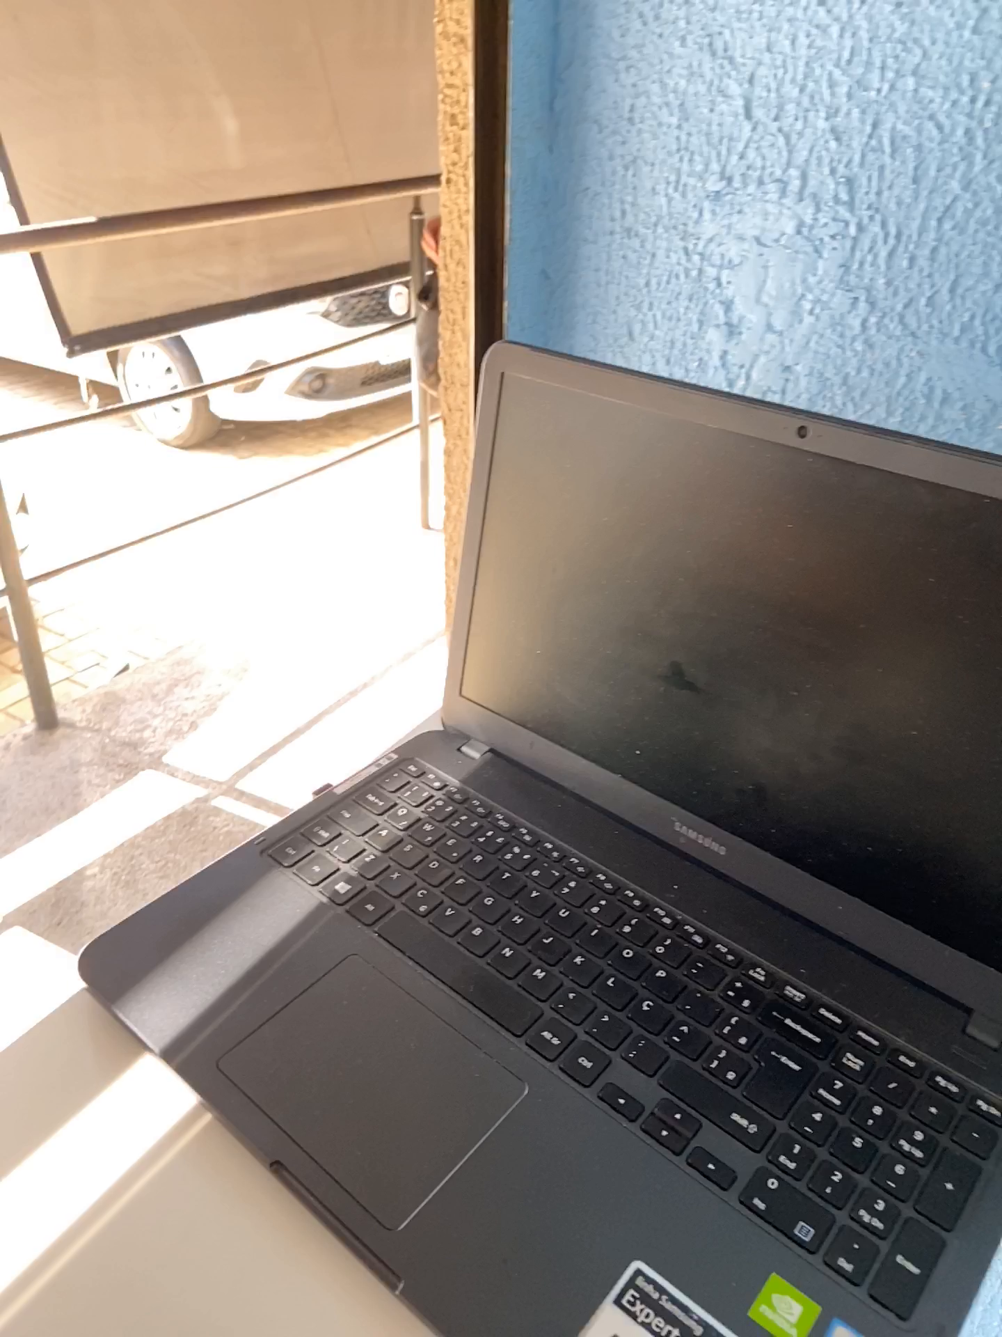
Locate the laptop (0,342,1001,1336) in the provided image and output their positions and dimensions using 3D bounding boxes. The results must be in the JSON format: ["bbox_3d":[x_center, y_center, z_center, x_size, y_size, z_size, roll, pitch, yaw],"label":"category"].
[{"bbox_3d":[0.038,0.046,0.414,0.371,0.232,0.287,25,39,34],"label":"laptop"}]
